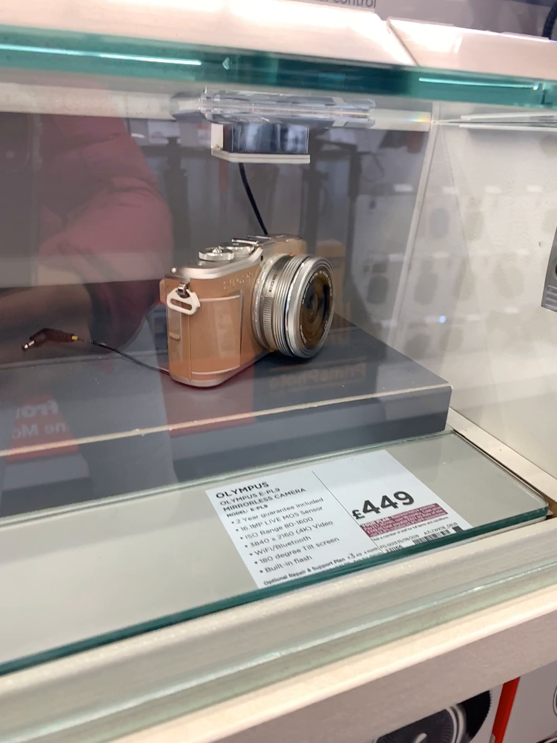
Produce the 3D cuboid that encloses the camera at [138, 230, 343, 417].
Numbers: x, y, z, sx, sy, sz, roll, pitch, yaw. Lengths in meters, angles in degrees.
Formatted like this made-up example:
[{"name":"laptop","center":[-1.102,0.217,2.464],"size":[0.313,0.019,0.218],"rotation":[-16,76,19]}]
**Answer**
[{"name":"camera","center":[-0.016,-0.036,0.333],"size":[0.060,0.069,0.121],"rotation":[13,25,24]}]
